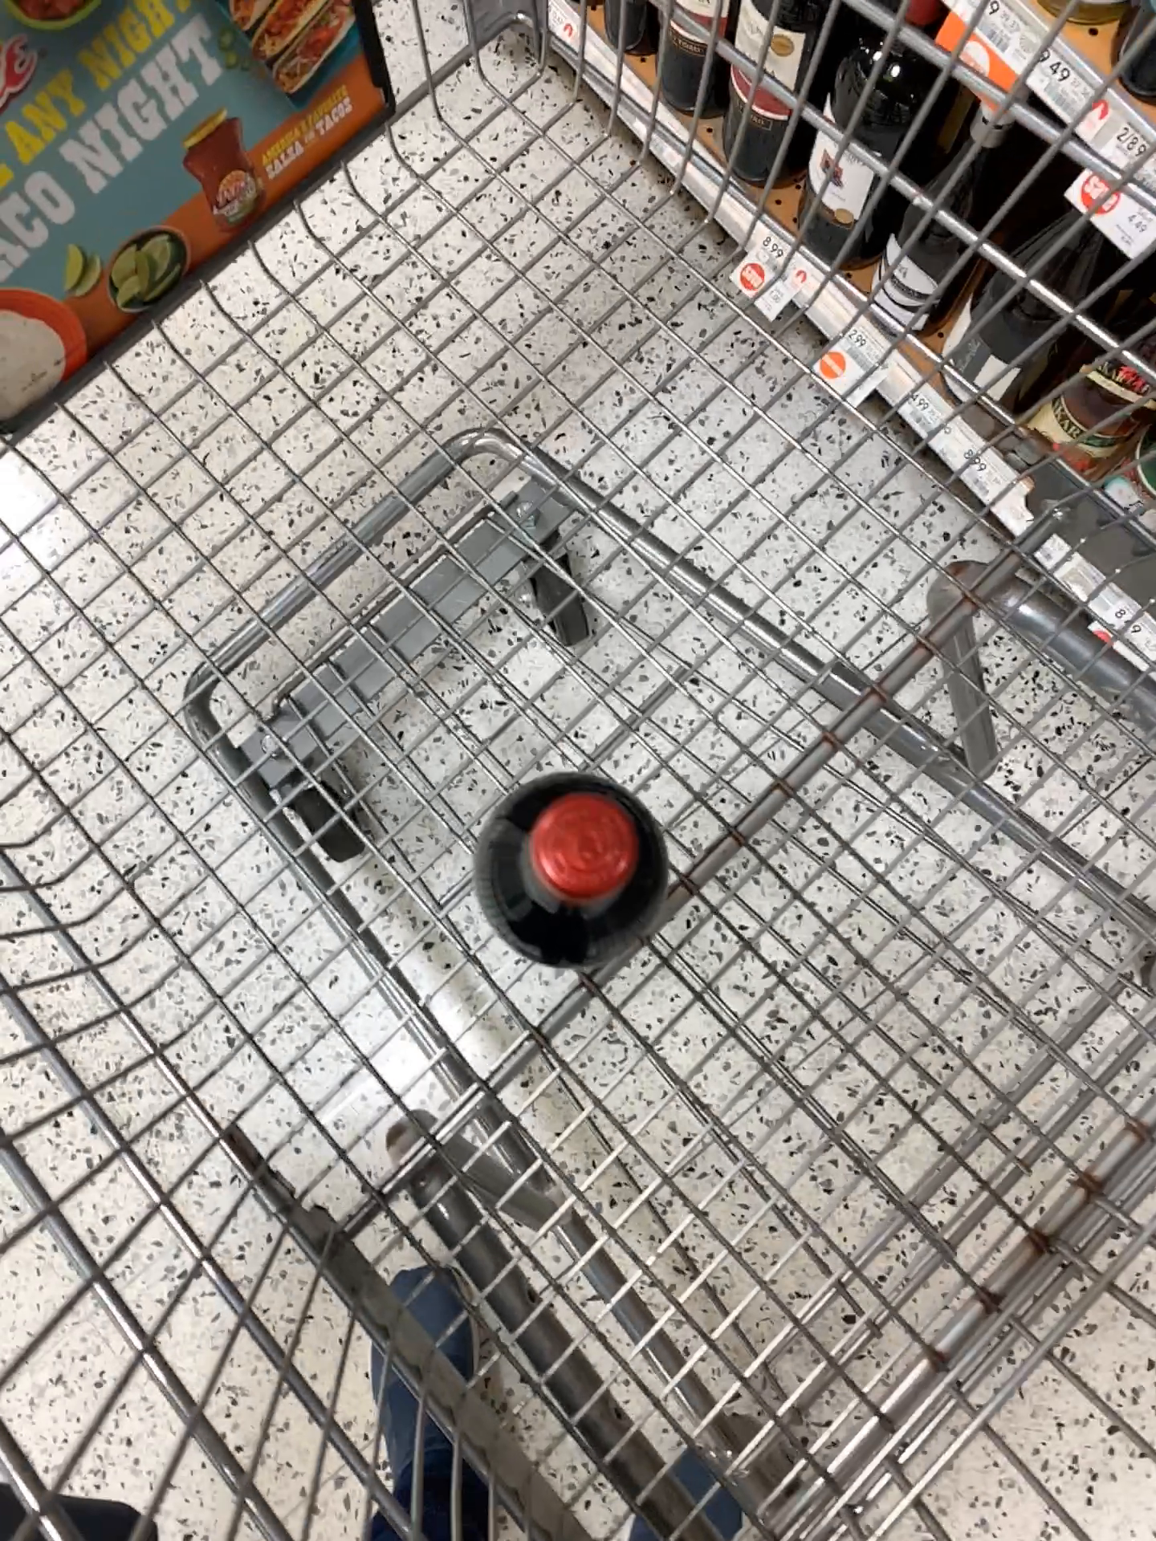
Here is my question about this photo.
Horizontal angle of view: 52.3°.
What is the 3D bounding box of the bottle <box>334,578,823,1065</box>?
[{"bbox_3d":[0.003,0.039,0.505,0.100,0.339,0.100,0,81,1],"label":"bottle"}]
